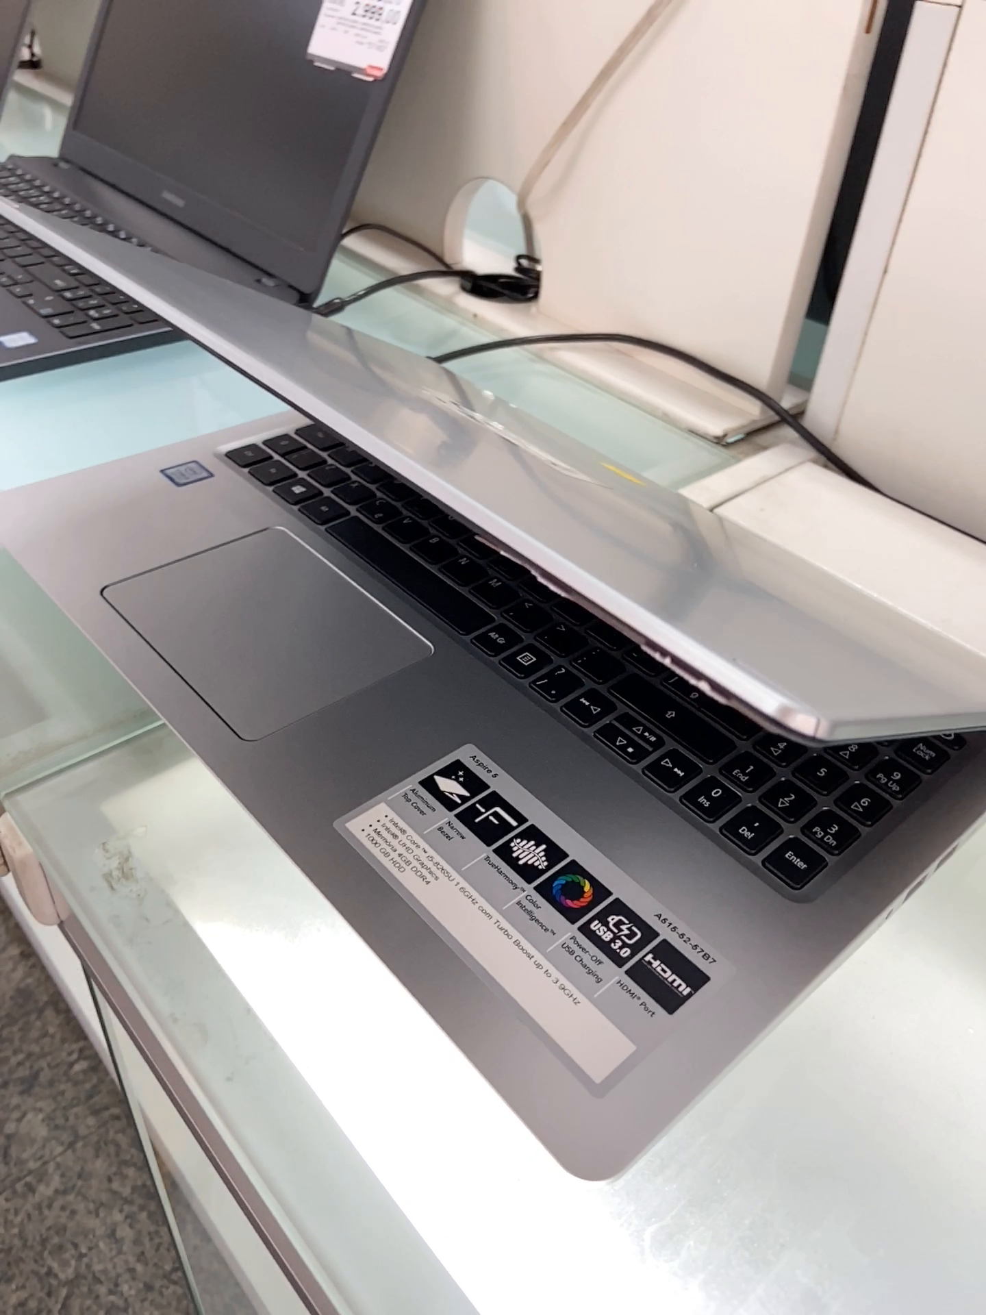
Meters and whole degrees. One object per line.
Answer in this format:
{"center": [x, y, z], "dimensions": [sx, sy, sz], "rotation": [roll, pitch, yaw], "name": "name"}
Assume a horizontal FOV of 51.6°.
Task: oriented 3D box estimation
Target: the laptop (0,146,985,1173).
{"center": [-0.008, -0.065, 0.362], "dimensions": [0.246, 0.116, 0.365], "rotation": [-28, 49, -34], "name": "laptop"}
